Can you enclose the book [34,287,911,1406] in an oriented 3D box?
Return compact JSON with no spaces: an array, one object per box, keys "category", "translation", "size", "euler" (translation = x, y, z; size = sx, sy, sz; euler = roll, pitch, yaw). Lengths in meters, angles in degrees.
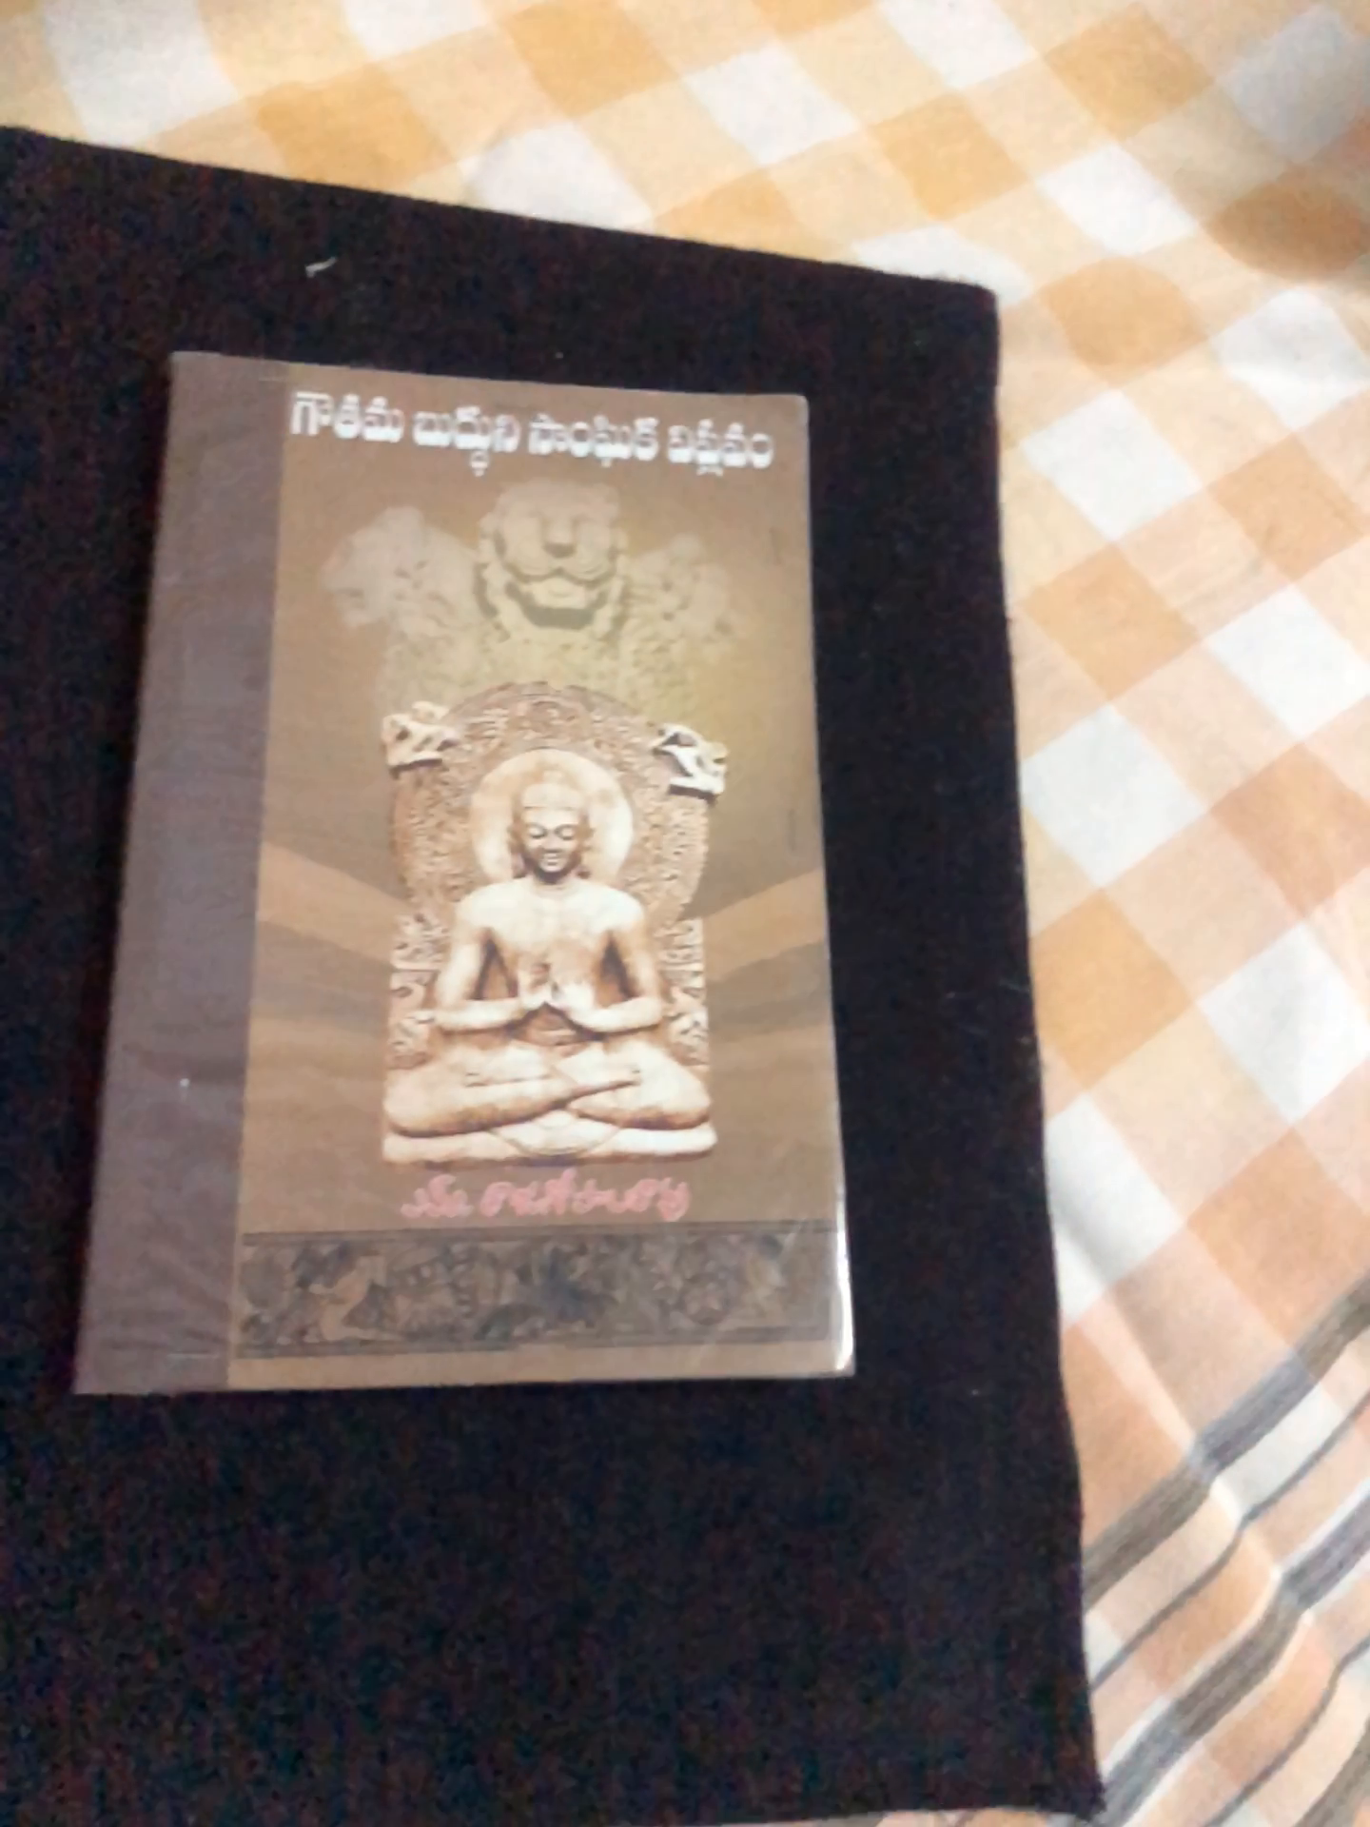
[{"category":"book","translation":[-0.036,-0.020,0.312],"size":[0.150,0.020,0.230],"euler":[4,68,-12]}]
